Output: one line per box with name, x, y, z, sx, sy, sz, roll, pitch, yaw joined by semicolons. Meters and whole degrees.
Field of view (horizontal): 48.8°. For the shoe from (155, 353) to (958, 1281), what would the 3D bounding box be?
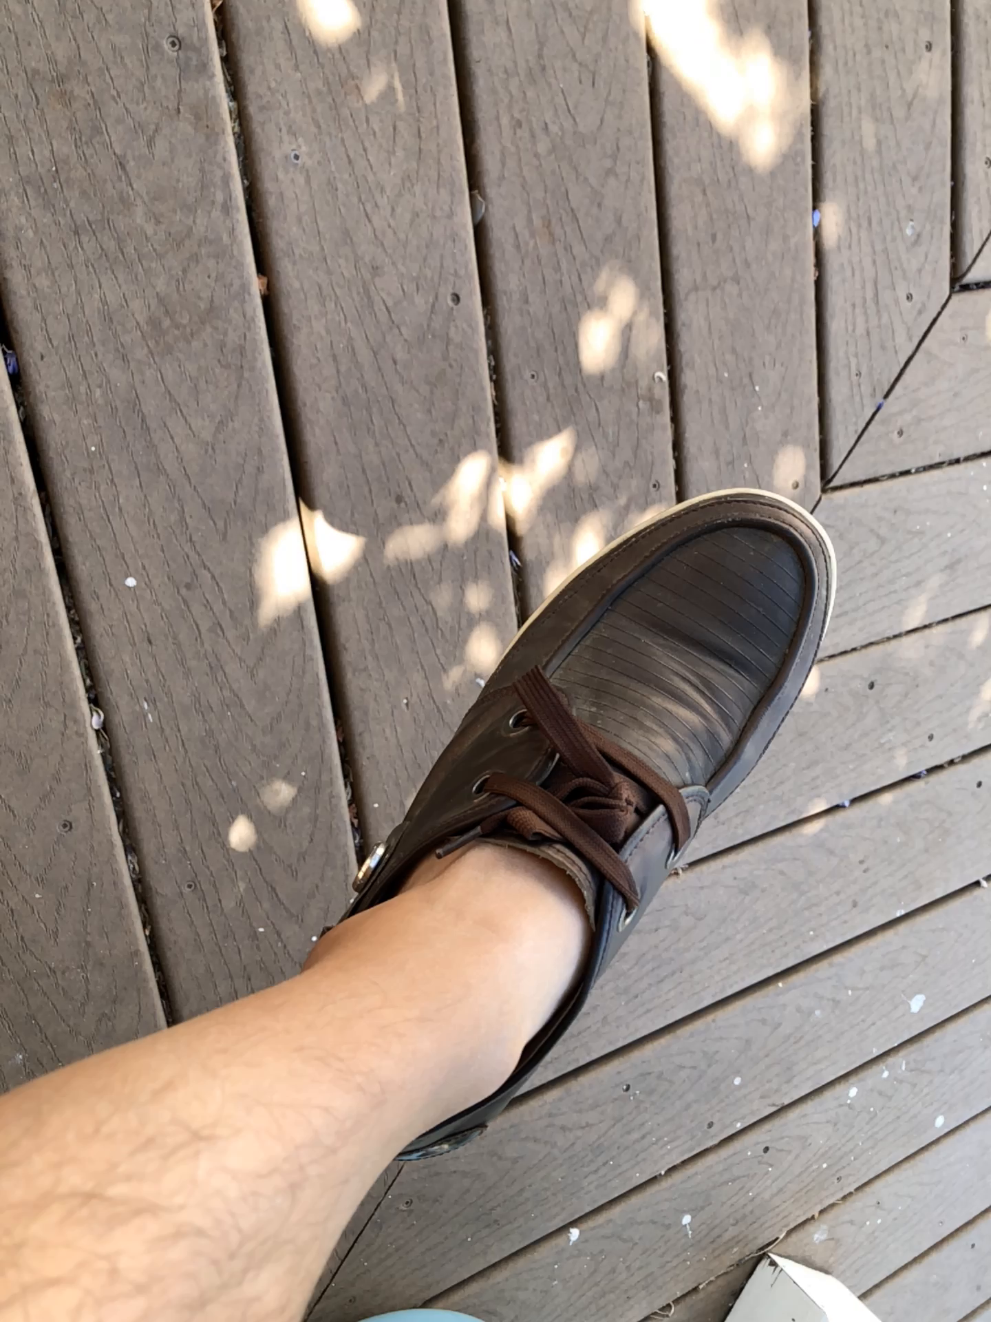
shoe;0.023;0.043;0.347;0.090;0.084;0.255;36;85;12
